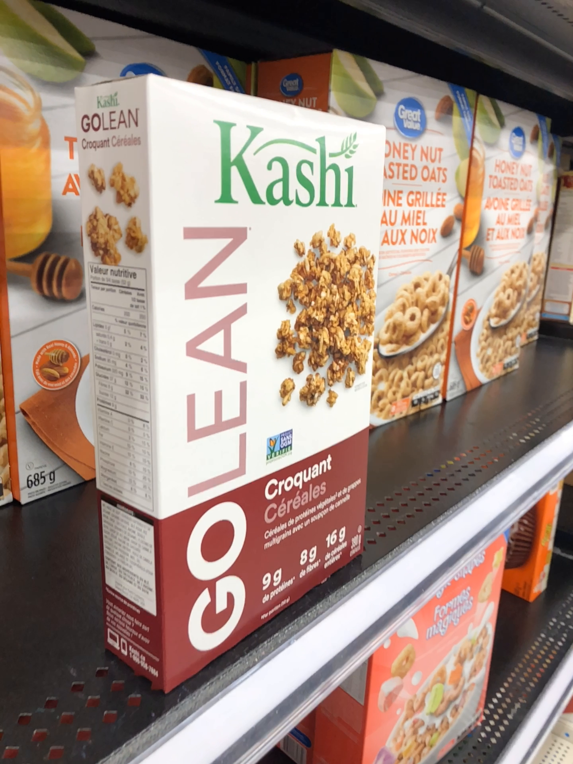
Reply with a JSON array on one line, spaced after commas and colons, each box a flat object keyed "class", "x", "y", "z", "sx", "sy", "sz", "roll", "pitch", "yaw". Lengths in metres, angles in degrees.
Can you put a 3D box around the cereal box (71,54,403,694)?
[{"class": "cereal box", "x": -0.016, "y": -0.007, "z": 0.327, "sx": 0.050, "sy": 0.259, "sz": 0.171, "roll": 15, "pitch": 20, "yaw": 37}]
